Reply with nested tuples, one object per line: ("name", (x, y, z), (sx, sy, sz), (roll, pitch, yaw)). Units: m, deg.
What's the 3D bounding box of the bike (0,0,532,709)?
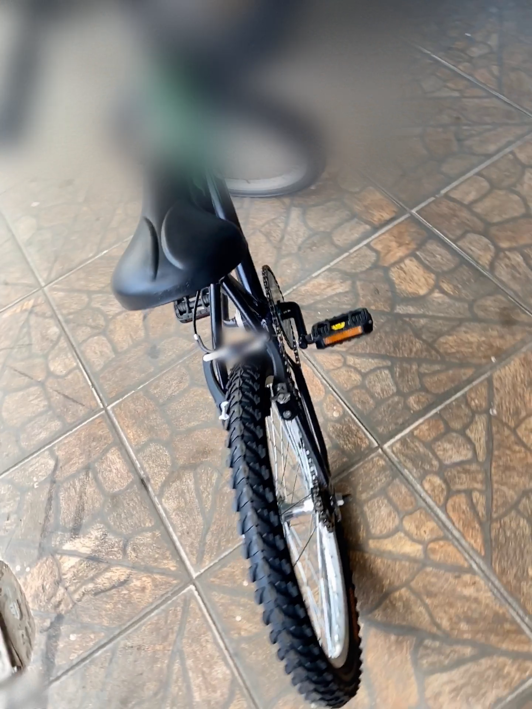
("bike", (-0.184, -0.122, 0.877), (0.598, 0.936, 1.274), (-20, 56, -2))
